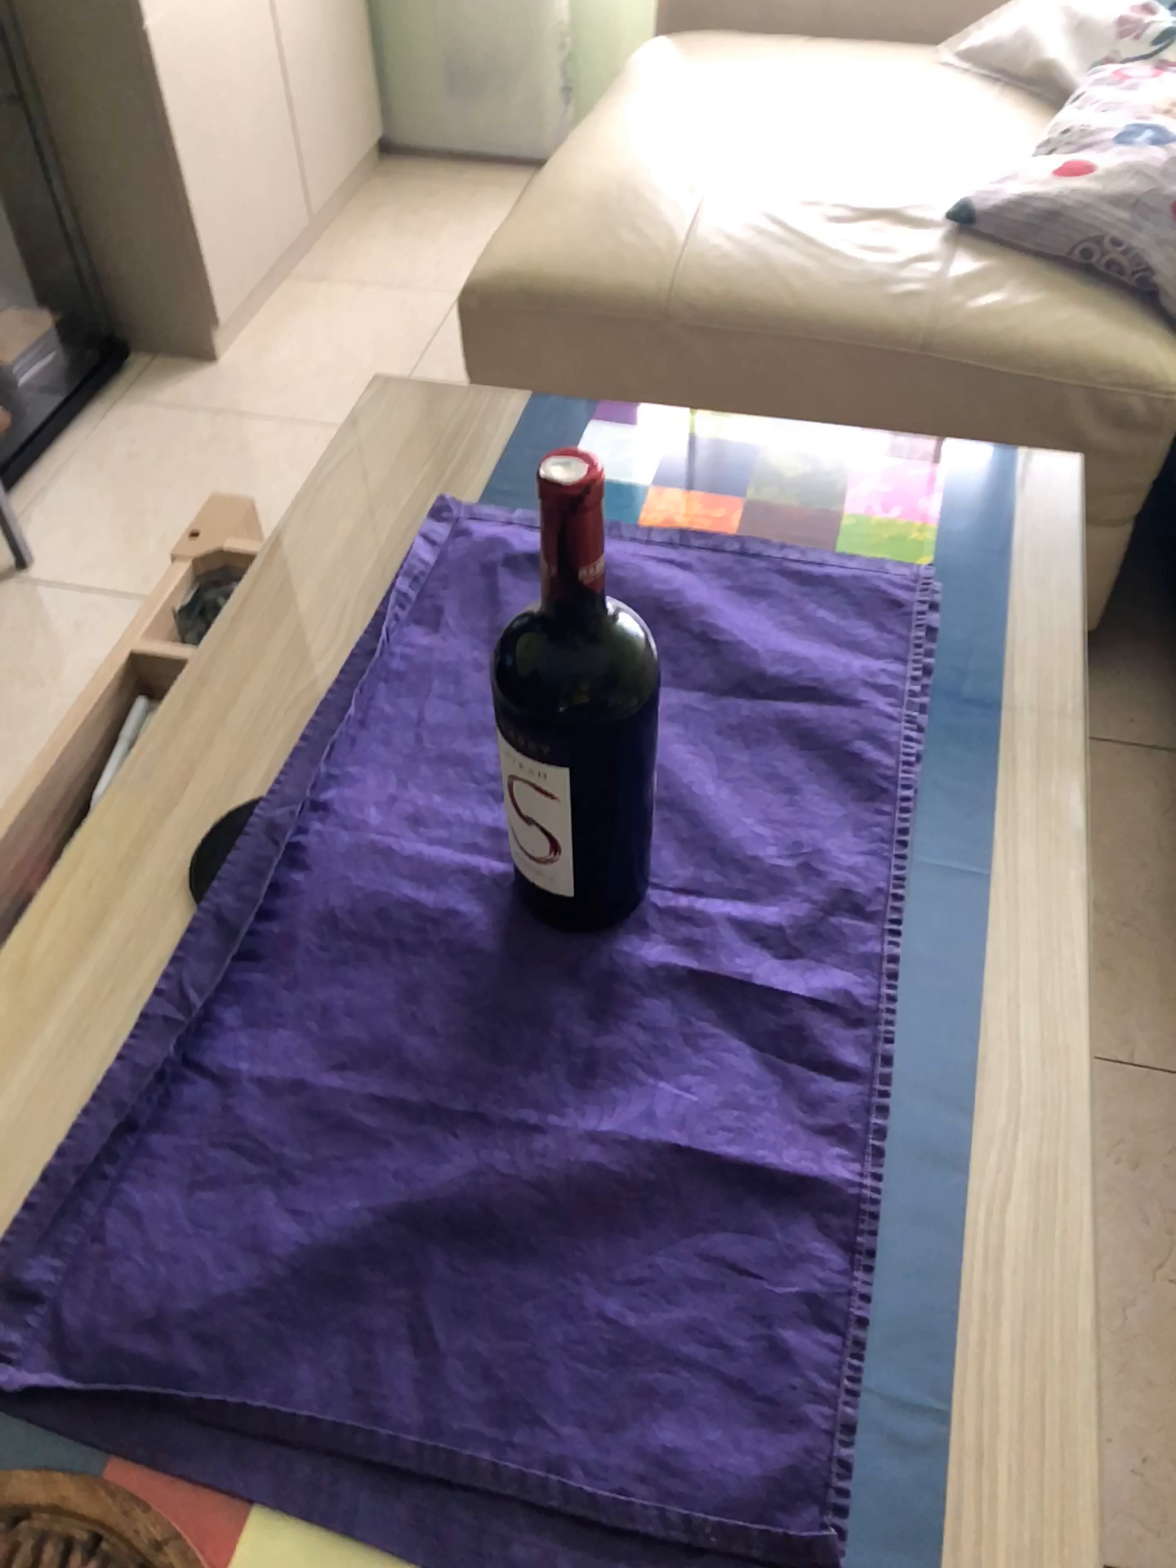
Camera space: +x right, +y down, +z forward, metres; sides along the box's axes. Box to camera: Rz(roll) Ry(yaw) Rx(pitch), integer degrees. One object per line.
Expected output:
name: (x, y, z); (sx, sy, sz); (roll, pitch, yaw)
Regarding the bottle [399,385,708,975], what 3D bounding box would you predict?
bottle: (-0.010, -0.036, 0.617); (0.090, 0.269, 0.090); (-1, 48, 1)
